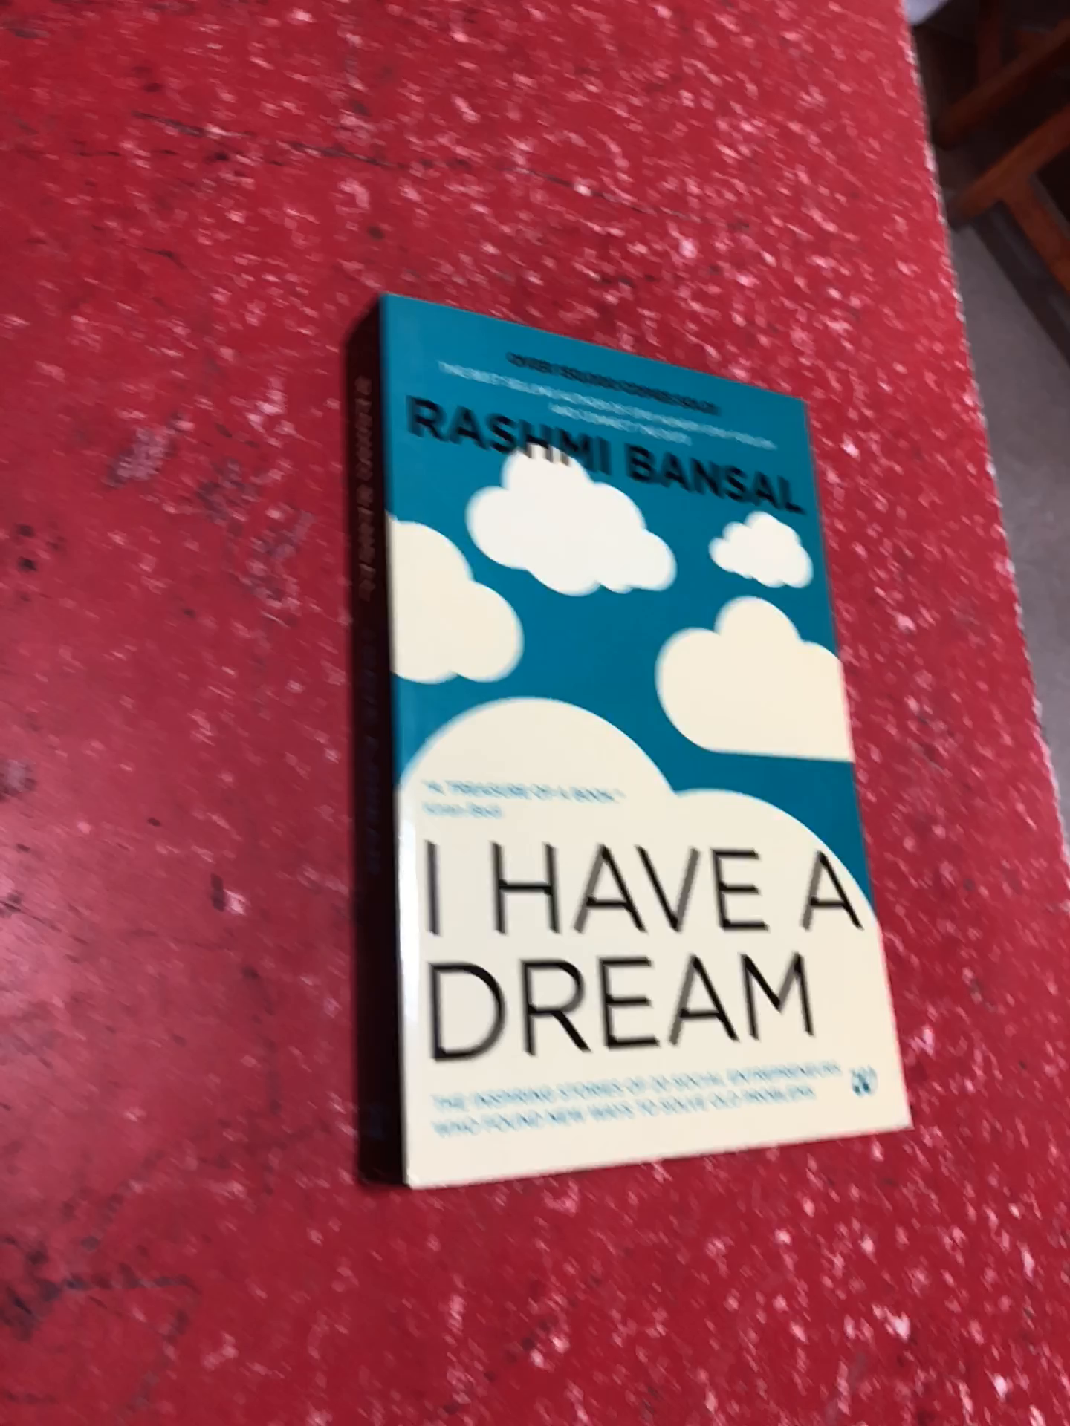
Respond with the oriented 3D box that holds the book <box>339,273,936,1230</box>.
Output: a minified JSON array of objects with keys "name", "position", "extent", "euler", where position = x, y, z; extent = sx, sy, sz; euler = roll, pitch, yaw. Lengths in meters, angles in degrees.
[{"name":"book","position":[0.023,0.006,0.287],"extent":[0.130,0.030,0.200],"euler":[4,73,-29]}]
